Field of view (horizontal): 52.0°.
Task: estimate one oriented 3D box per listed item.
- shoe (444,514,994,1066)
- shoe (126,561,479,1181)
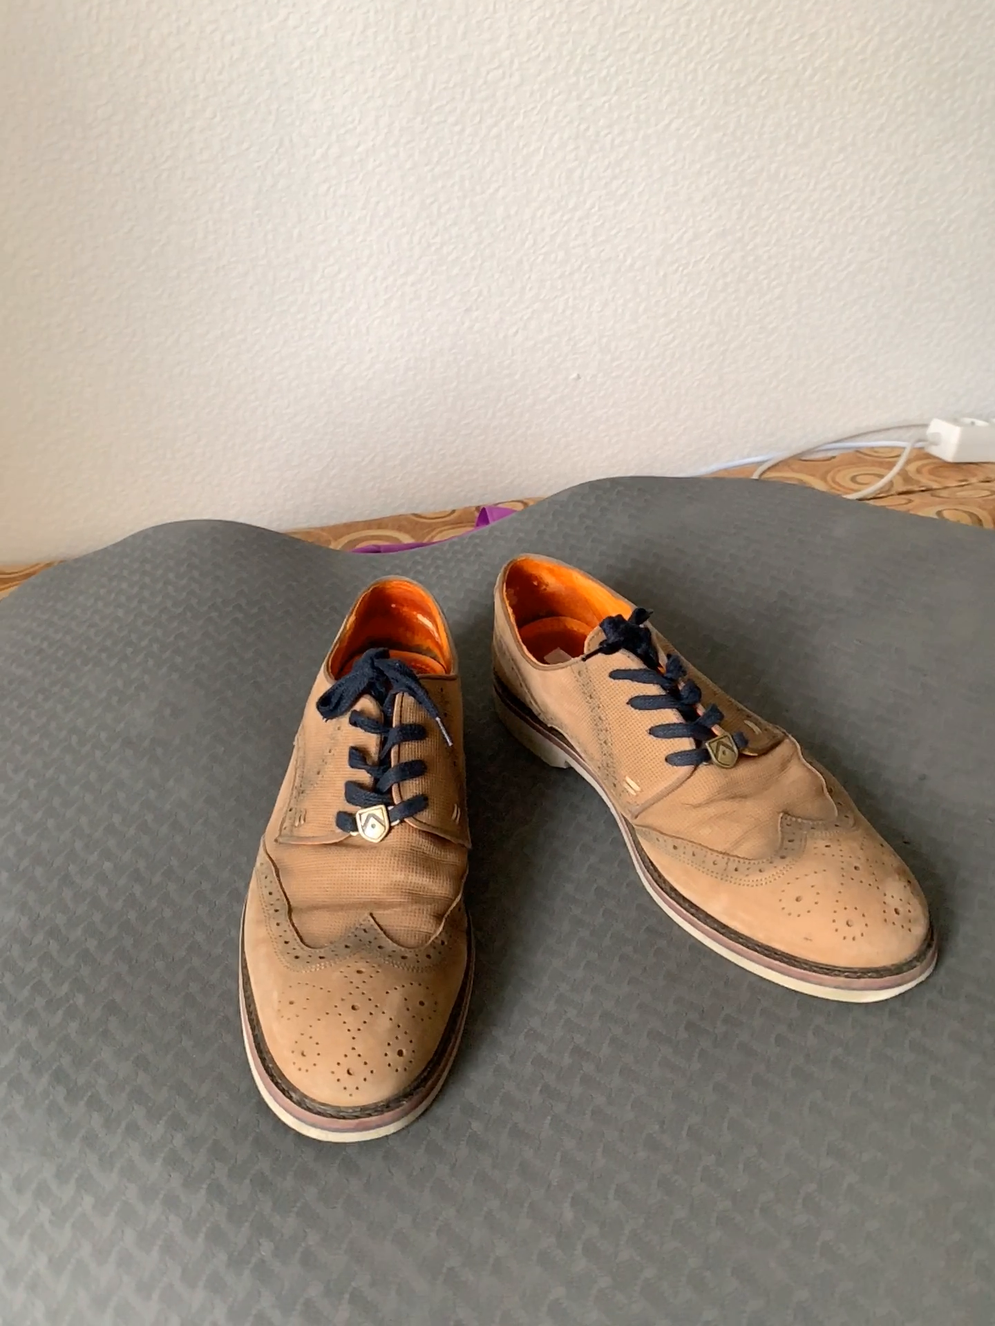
[{"bbox_3d":[0.101,0.038,0.508,0.110,0.090,0.291,-25,42,-25],"label":"shoe"},{"bbox_3d":[-0.069,0.072,0.489,0.110,0.090,0.302,-3,37,2],"label":"shoe"}]
